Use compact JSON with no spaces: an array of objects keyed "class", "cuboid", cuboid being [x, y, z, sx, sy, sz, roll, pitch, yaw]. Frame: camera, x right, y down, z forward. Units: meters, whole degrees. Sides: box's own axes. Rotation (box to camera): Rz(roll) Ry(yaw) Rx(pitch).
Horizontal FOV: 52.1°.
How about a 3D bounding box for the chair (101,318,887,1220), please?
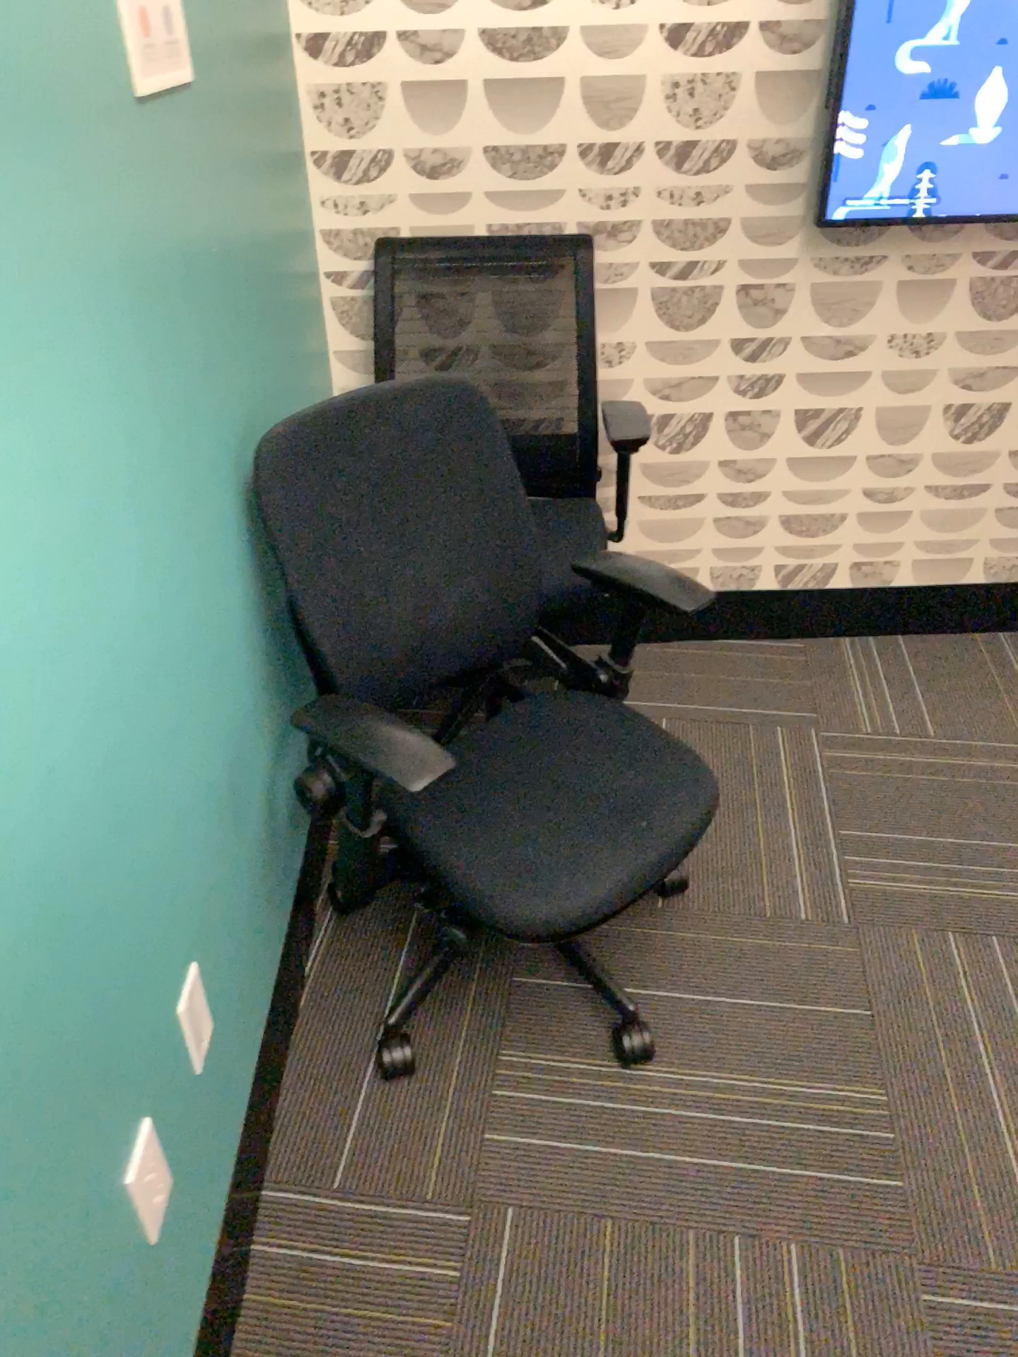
[{"class":"chair","cuboid":[-0.024,0.065,1.592,0.662,0.944,0.773,-29,42,-35]}]
